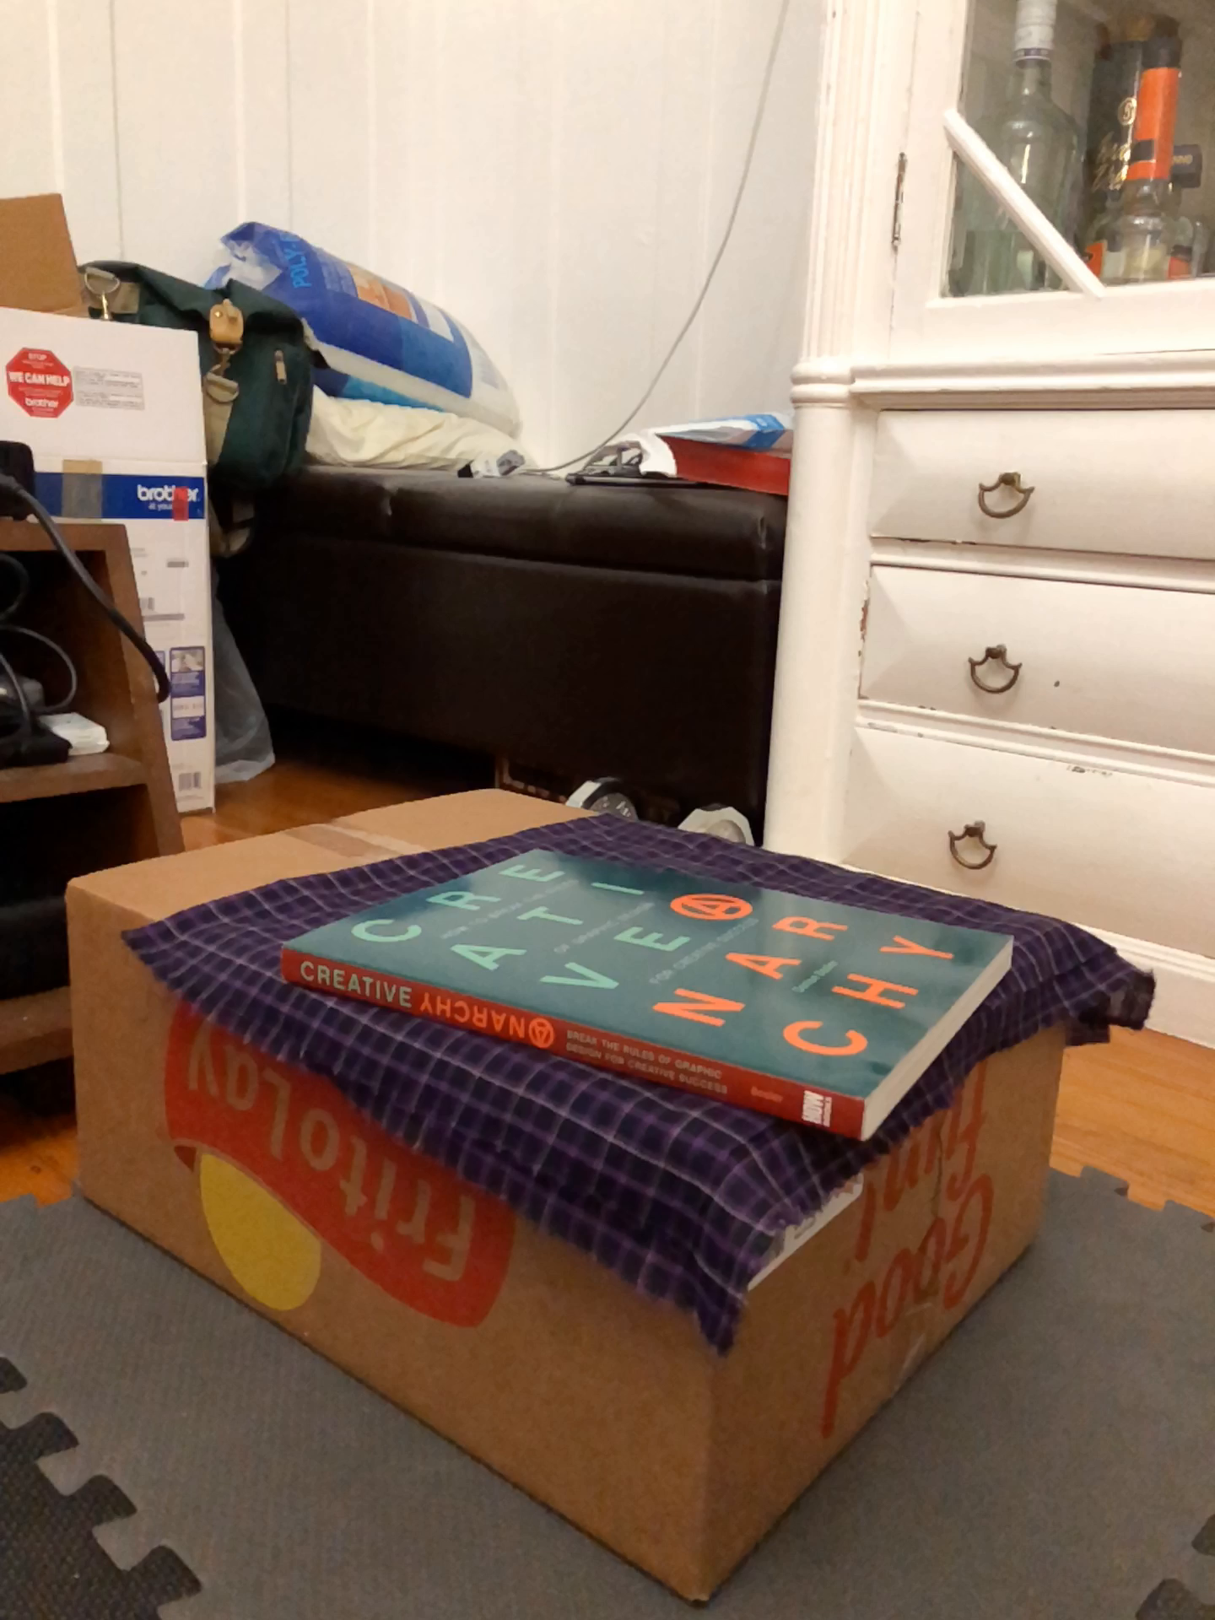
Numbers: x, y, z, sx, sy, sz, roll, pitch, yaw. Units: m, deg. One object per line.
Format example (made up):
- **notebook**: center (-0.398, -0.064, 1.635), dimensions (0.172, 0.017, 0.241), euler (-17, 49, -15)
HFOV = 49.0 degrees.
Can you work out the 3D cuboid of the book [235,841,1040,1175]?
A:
- **book**: center (0.021, 0.071, 0.611), dimensions (0.300, 0.020, 0.221), euler (10, 15, 28)
